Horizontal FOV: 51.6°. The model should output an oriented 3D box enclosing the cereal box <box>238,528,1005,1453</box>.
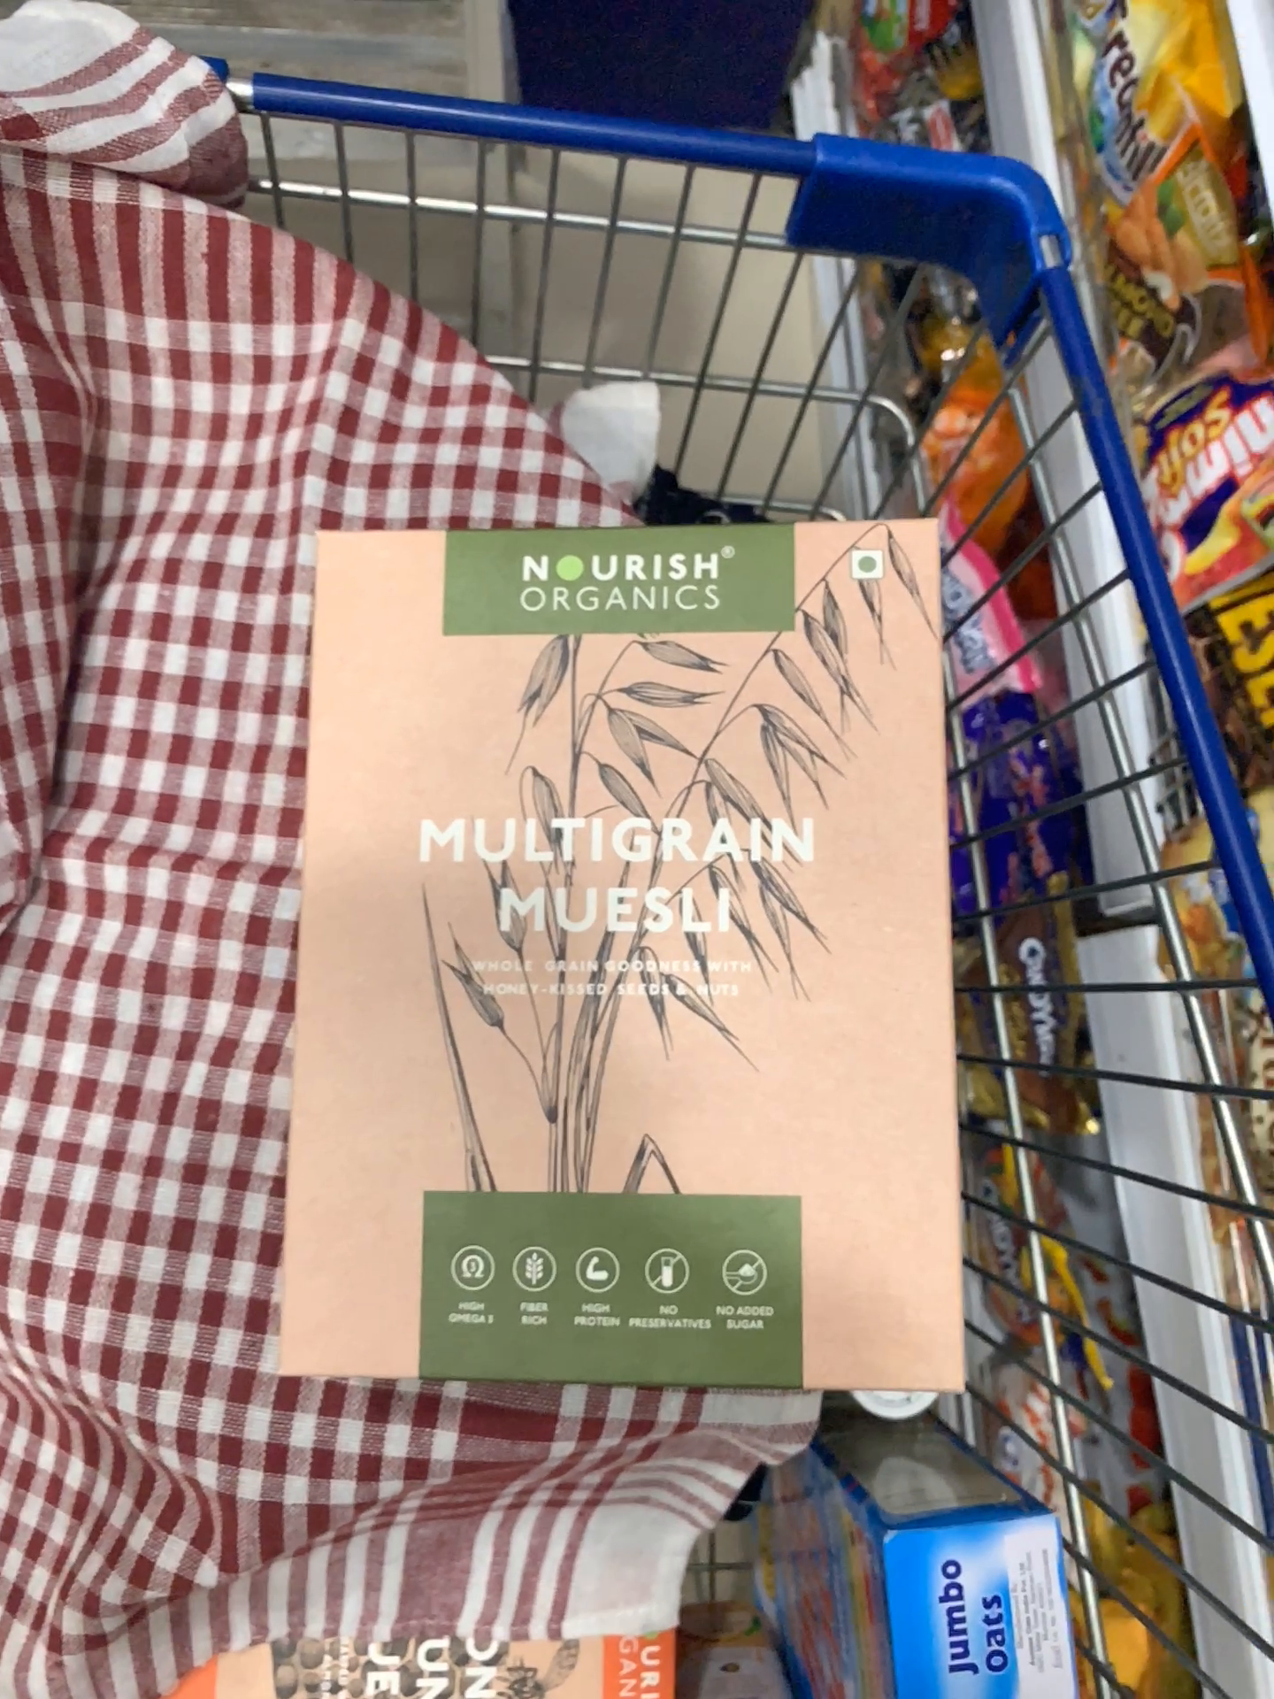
[{"bbox_3d":[-0.003,0.029,0.314,0.160,0.050,0.200,0,81,3],"label":"cereal box"}]
